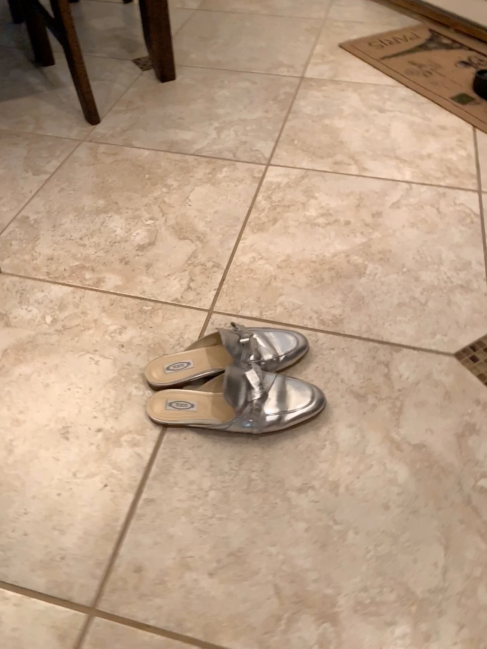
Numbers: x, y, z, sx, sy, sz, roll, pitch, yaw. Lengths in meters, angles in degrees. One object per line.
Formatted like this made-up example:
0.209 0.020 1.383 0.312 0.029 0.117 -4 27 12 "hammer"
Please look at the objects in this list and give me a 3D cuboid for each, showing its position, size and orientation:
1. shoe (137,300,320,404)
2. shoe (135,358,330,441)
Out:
-0.026 0.043 0.826 0.280 0.077 0.092 -11 50 -9 "shoe"
-0.015 0.115 0.770 0.277 0.077 0.102 0 49 0 "shoe"
